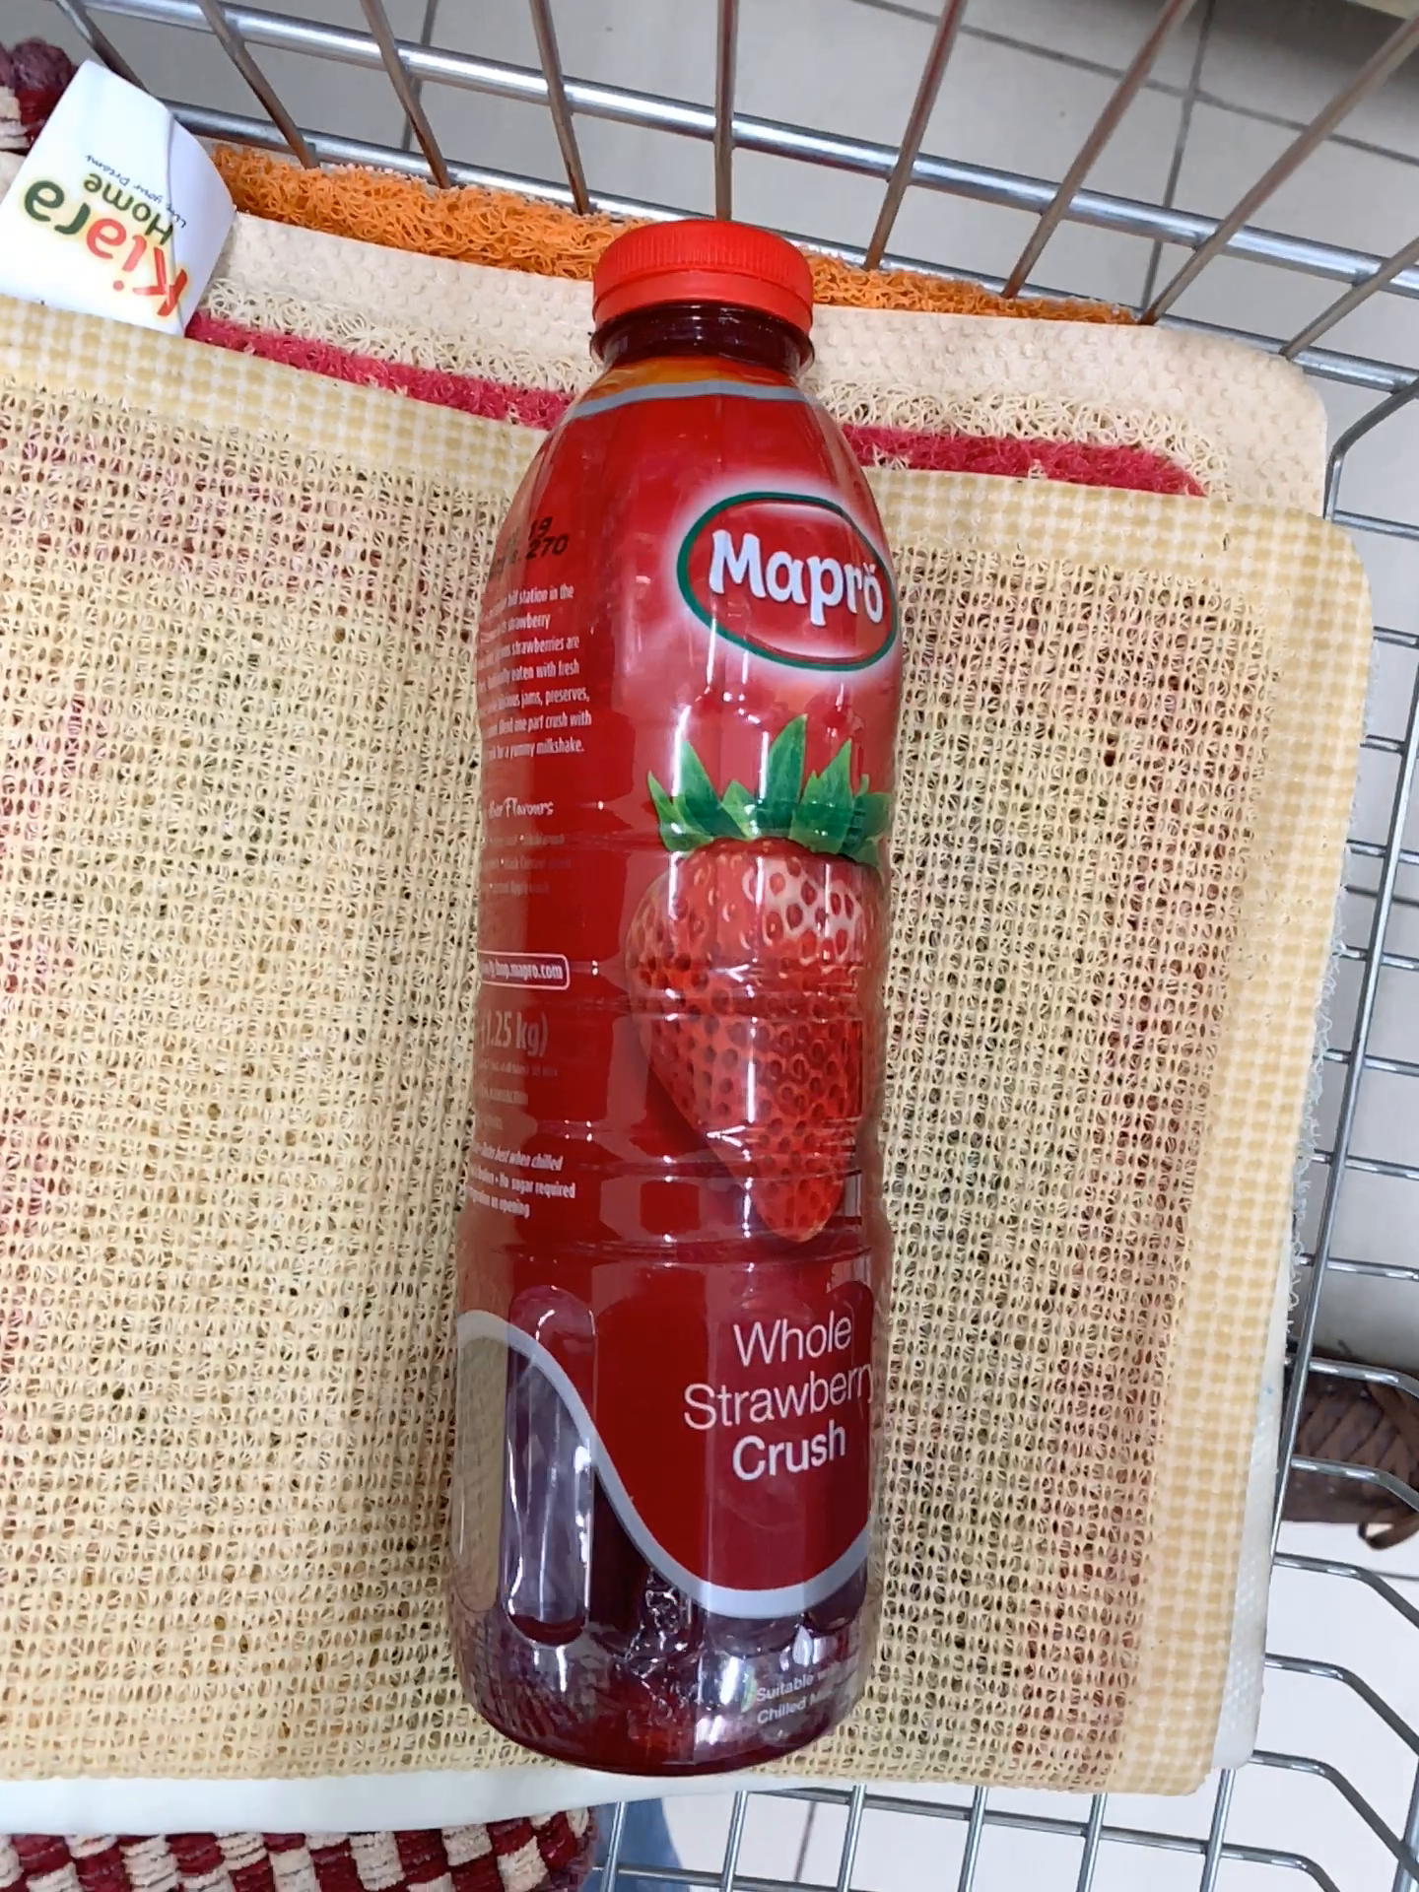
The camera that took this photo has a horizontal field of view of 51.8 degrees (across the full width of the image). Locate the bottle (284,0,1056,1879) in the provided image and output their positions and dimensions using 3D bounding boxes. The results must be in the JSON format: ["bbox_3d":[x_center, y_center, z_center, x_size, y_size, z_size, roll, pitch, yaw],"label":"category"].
[{"bbox_3d":[-0.010,0.002,0.246,0.090,0.070,0.250,2,94,-33],"label":"bottle"}]
